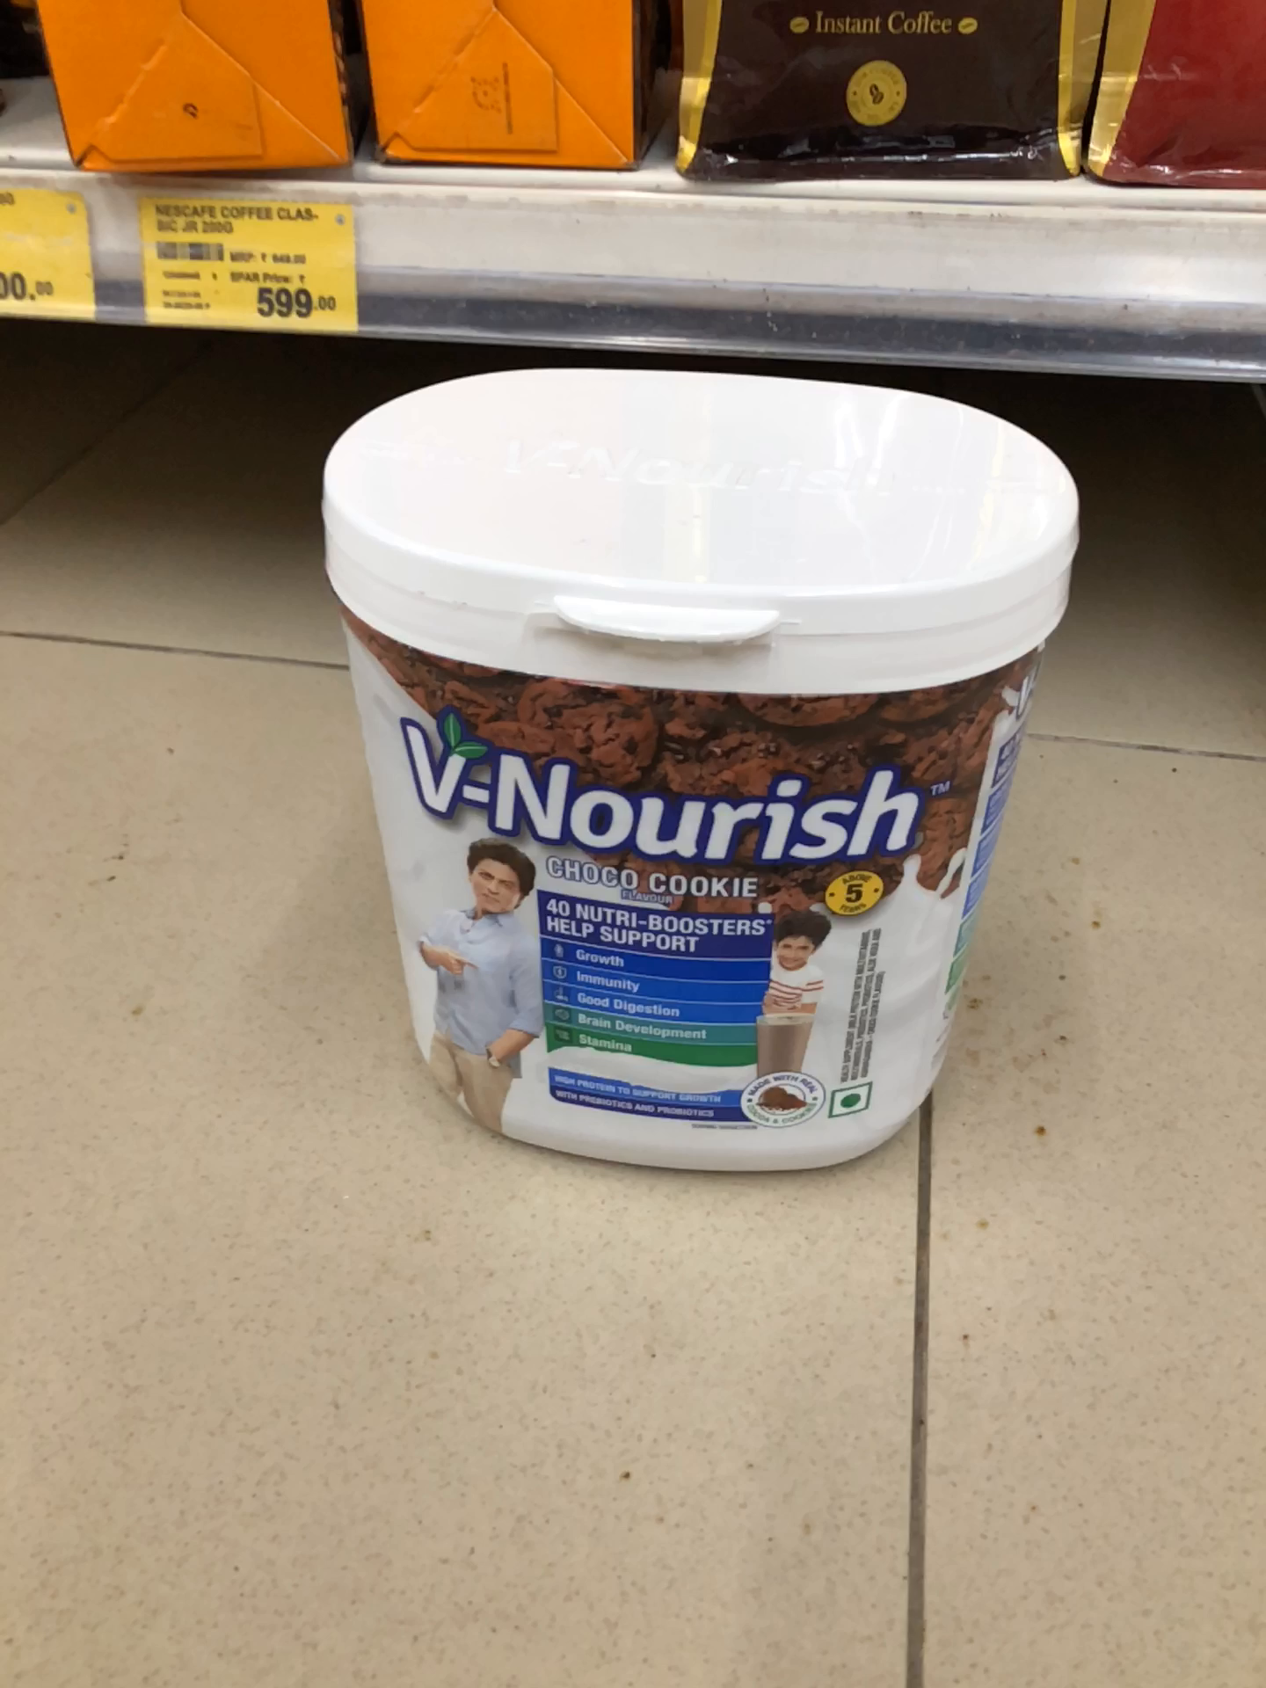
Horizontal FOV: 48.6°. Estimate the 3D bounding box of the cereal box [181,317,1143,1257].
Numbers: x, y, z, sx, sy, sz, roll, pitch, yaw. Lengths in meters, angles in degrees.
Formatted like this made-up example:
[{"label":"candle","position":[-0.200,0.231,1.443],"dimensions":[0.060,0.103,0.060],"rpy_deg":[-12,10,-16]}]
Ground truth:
[{"label":"cereal box","position":[0.009,-0.012,0.287],"dimensions":[0.140,0.149,0.101],"rpy_deg":[6,39,7]}]
